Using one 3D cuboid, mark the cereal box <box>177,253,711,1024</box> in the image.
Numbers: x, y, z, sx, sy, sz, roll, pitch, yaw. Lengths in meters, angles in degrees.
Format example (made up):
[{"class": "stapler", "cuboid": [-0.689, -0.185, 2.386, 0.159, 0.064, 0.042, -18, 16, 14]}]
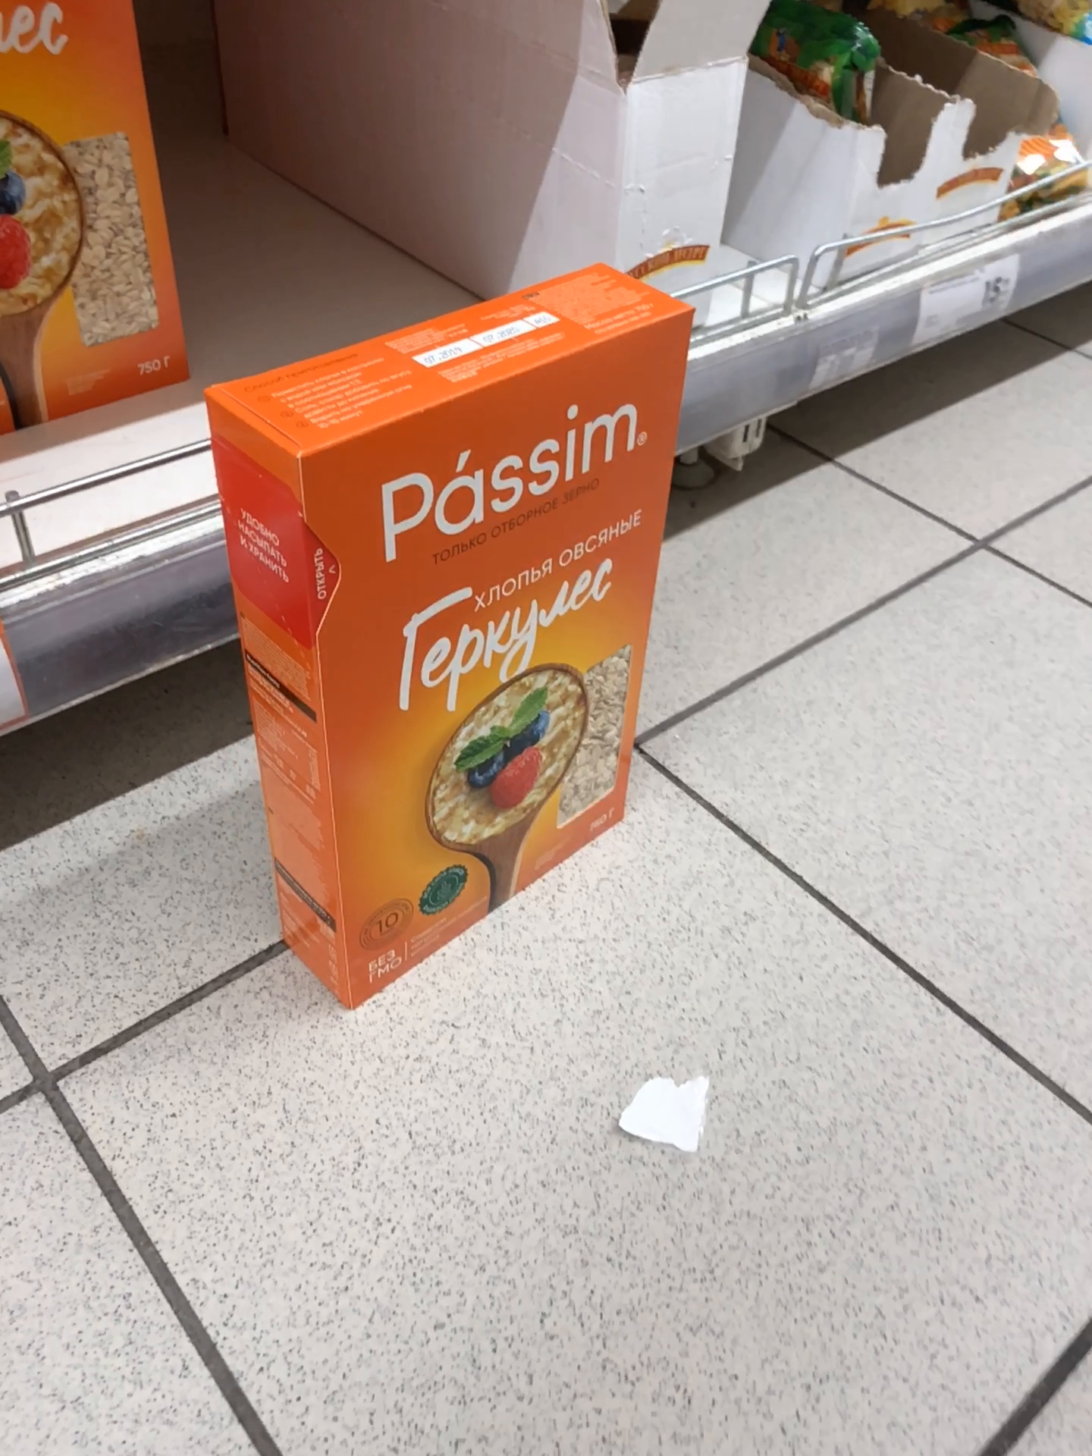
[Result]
[{"class": "cereal box", "cuboid": [-0.031, -0.025, 0.451, 0.171, 0.249, 0.050, -32, 54, -33]}]
